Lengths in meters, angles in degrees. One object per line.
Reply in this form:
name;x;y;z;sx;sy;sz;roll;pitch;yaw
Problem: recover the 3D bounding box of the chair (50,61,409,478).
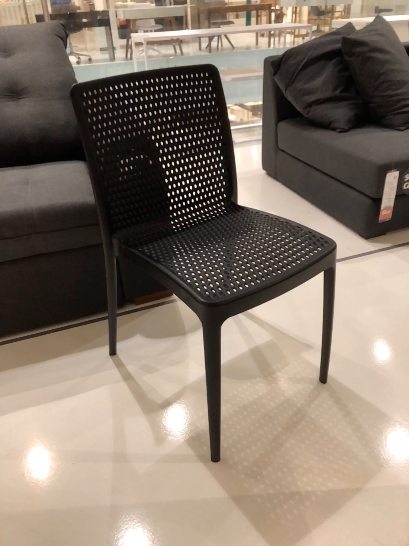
chair;0.049;-0.070;1.164;0.532;0.784;0.563;-24;37;-31
